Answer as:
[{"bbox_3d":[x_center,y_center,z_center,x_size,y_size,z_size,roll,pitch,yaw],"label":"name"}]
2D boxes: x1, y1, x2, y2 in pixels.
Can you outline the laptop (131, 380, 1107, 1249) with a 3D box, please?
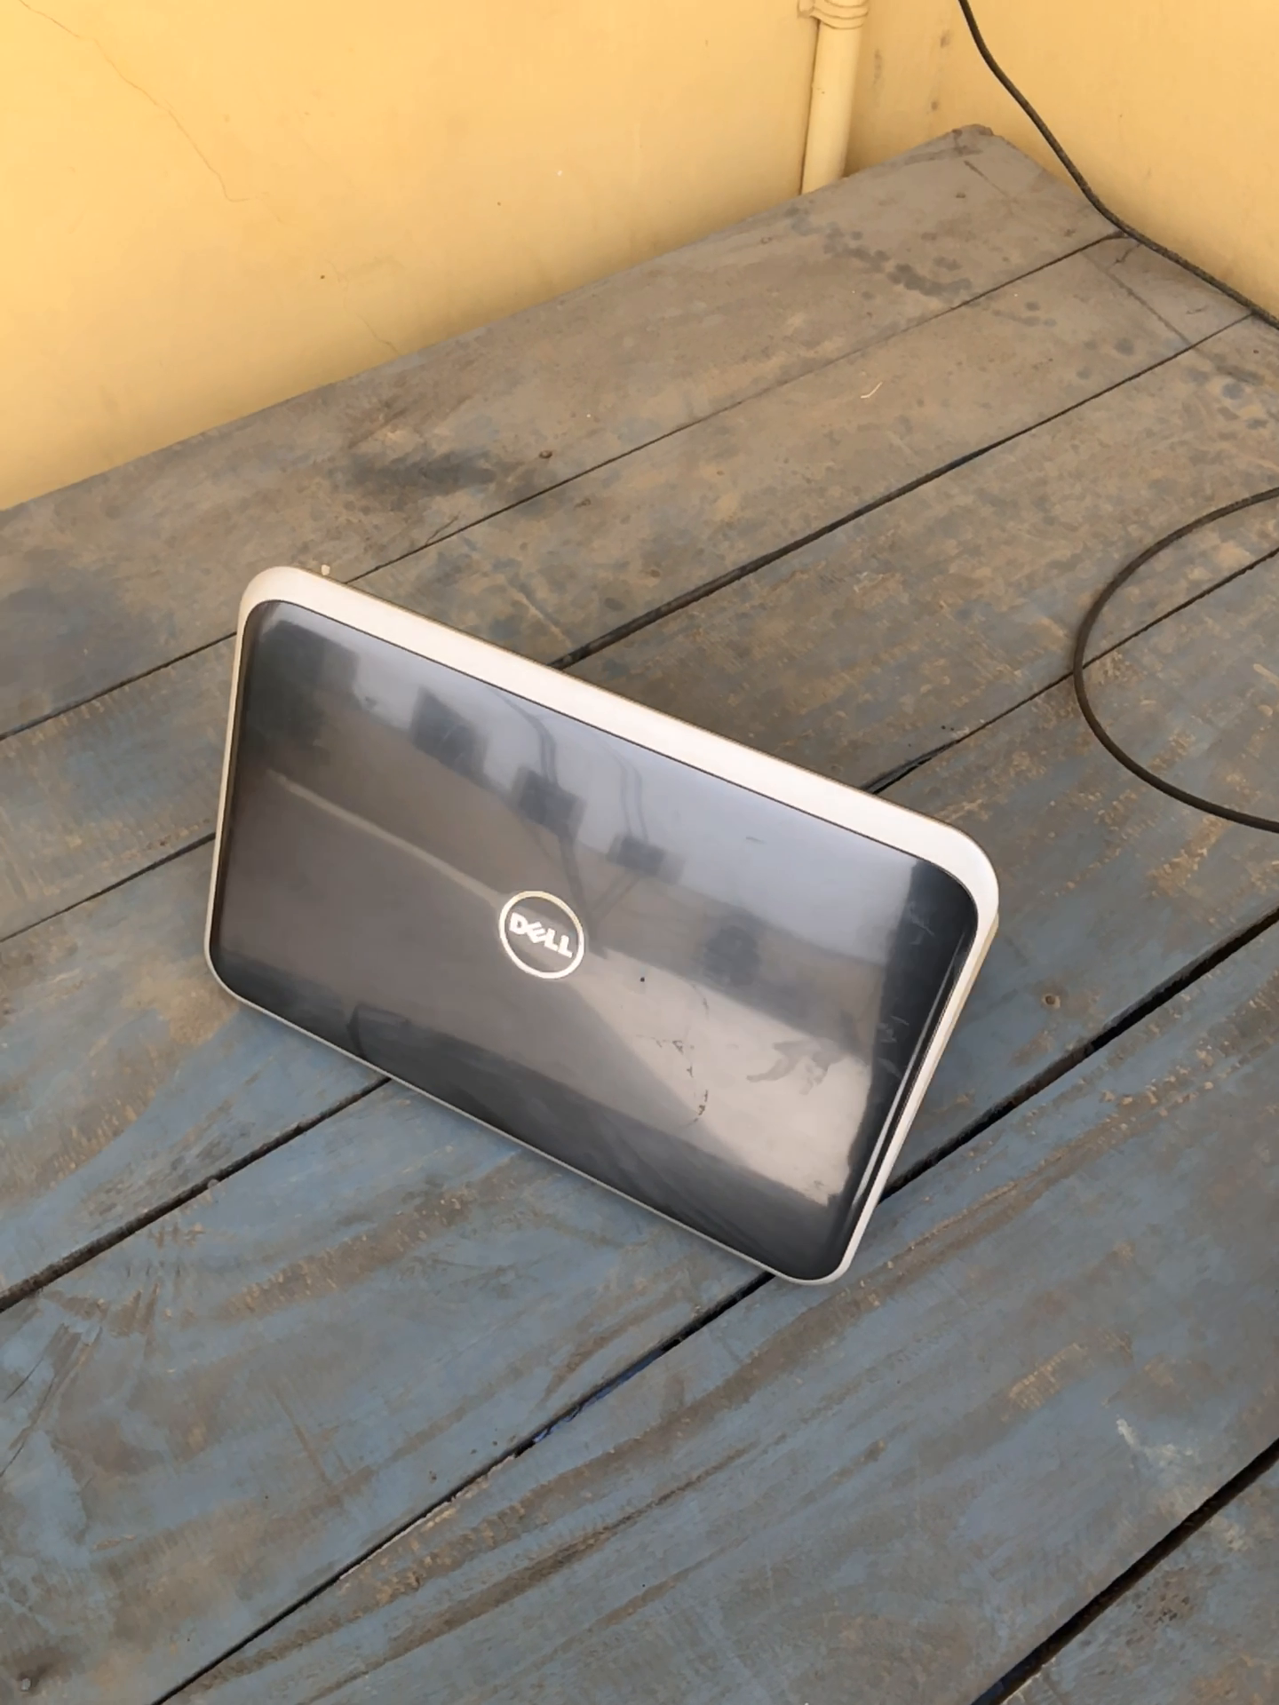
[{"bbox_3d":[-0.008,-0.023,0.675,0.347,0.206,0.216,24,60,17],"label":"laptop"}]
